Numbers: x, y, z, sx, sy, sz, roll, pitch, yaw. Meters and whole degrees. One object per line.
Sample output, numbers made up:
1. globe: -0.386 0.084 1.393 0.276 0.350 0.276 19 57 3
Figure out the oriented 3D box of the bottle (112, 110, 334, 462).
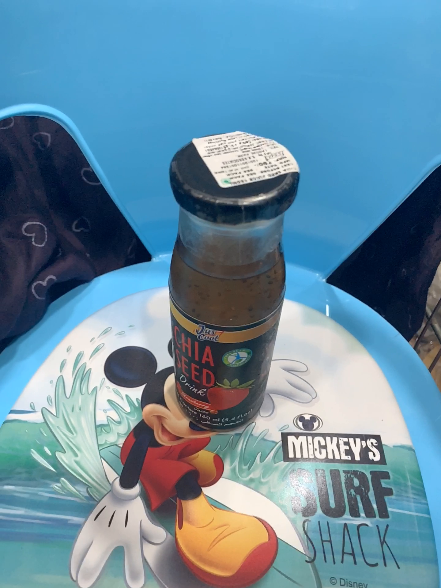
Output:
1. bottle: 0.000 0.004 0.186 0.050 0.130 0.050 1 43 -1
